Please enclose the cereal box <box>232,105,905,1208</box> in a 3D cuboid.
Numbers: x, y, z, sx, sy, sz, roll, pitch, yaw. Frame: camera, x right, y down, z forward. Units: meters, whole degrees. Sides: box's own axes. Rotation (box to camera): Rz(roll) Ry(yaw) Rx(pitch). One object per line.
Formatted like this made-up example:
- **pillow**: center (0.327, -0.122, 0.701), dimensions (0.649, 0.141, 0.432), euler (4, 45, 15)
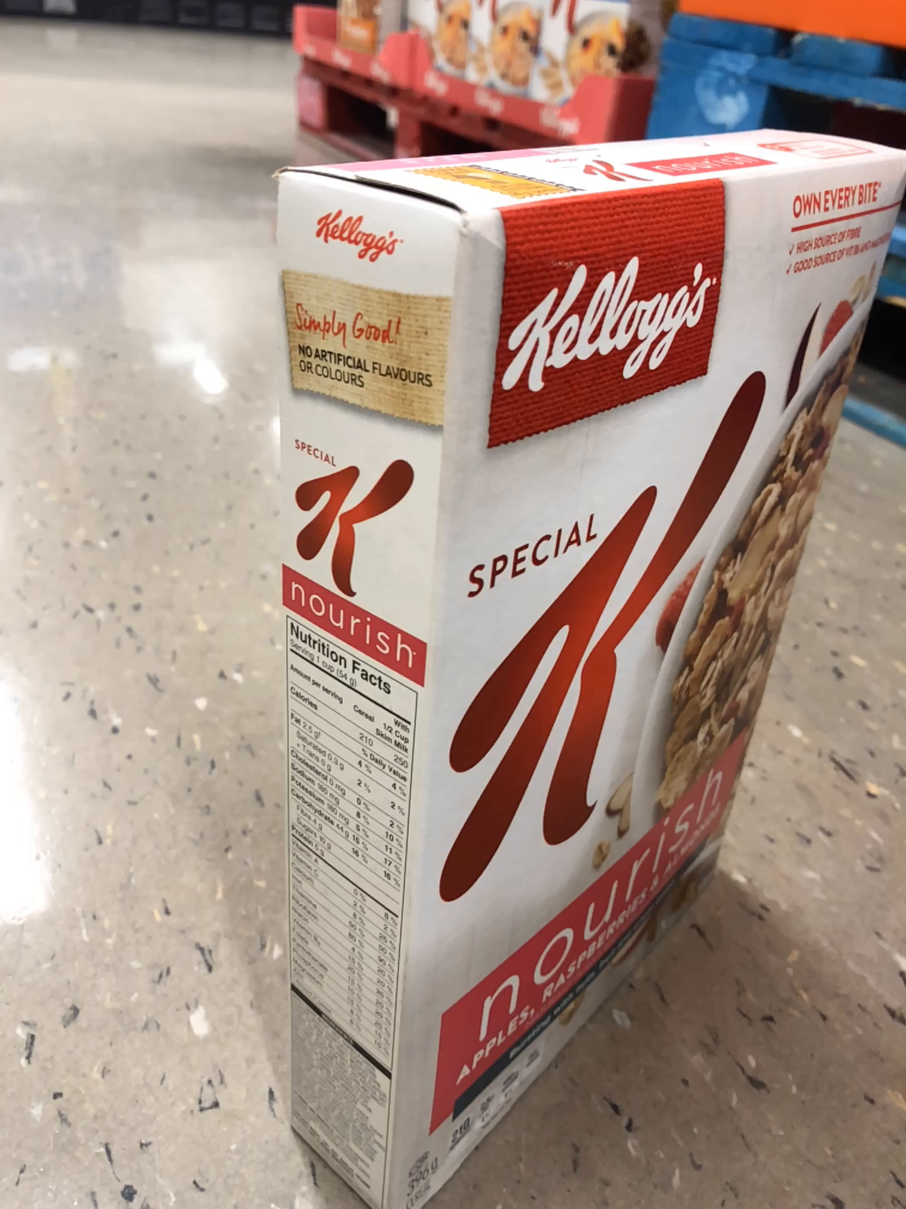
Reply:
- **cereal box**: center (0.037, 0.021, 0.290), dimensions (0.050, 0.289, 0.211), euler (27, 37, 30)
